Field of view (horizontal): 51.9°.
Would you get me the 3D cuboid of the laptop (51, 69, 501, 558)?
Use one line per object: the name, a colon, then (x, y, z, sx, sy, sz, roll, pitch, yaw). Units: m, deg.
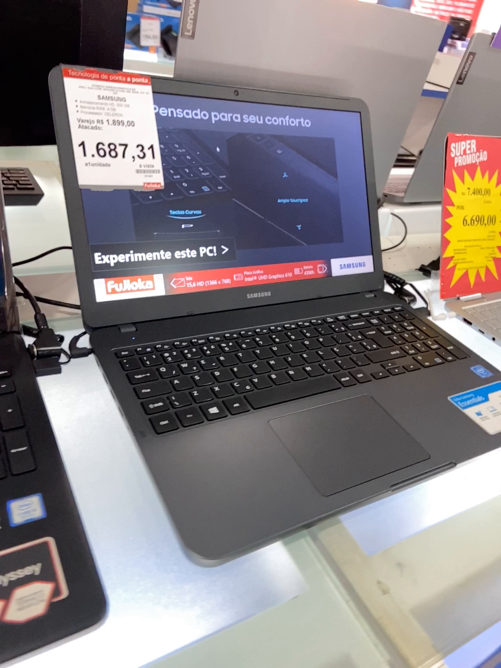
laptop: (0.055, -0.078, 0.465, 0.367, 0.196, 0.371, -9, 37, -29)
